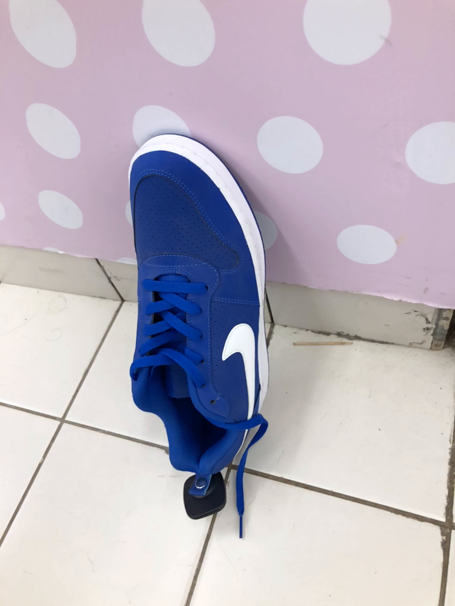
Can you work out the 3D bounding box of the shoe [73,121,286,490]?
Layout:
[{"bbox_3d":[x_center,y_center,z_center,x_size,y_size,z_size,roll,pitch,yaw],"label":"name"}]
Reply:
[{"bbox_3d":[-0.025,0.009,0.422,0.110,0.289,0.080,4,28,23],"label":"shoe"}]
